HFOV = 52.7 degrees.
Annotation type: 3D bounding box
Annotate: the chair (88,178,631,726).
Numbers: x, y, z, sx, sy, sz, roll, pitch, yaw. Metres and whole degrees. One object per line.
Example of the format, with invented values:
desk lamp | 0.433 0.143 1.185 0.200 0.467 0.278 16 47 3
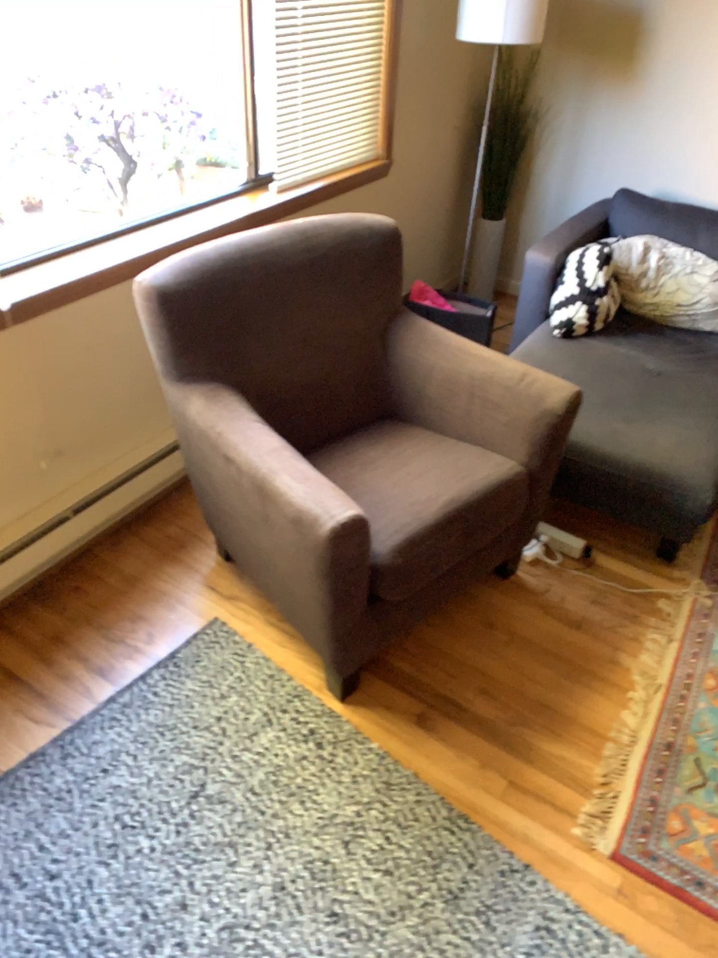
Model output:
chair | 0.000 -0.156 1.836 0.882 0.875 0.803 -28 45 -35
